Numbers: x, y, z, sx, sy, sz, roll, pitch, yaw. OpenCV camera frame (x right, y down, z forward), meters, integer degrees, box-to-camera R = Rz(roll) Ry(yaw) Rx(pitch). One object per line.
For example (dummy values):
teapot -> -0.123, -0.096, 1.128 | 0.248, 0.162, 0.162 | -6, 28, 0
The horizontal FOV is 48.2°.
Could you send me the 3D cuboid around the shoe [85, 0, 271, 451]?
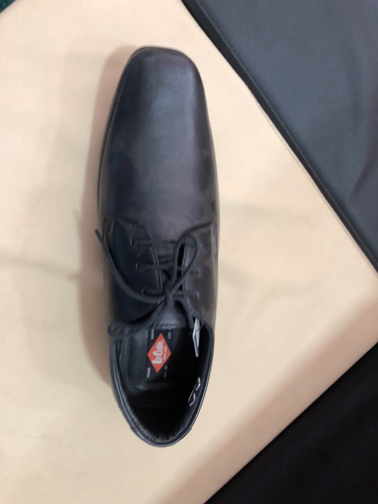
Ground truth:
shoe -> -0.018, -0.014, 0.287 | 0.090, 0.080, 0.270 | 2, 101, -13
